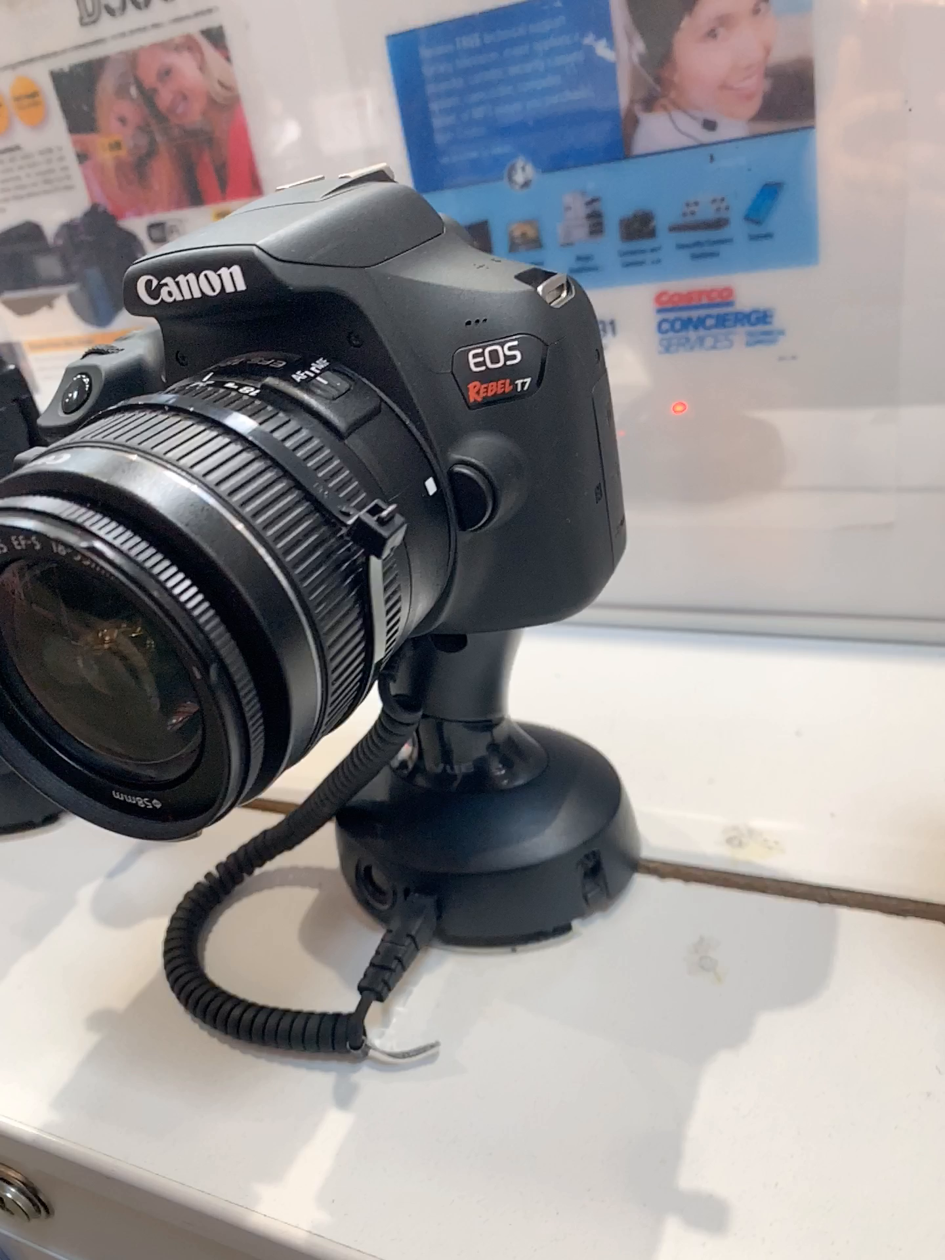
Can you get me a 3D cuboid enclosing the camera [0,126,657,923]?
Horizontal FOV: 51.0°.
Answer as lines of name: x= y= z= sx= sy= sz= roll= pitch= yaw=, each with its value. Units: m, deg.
camera: x=-0.040 y=-0.030 z=0.200 sx=0.122 sy=0.104 sz=0.110 roll=3 pitch=30 yaw=25
